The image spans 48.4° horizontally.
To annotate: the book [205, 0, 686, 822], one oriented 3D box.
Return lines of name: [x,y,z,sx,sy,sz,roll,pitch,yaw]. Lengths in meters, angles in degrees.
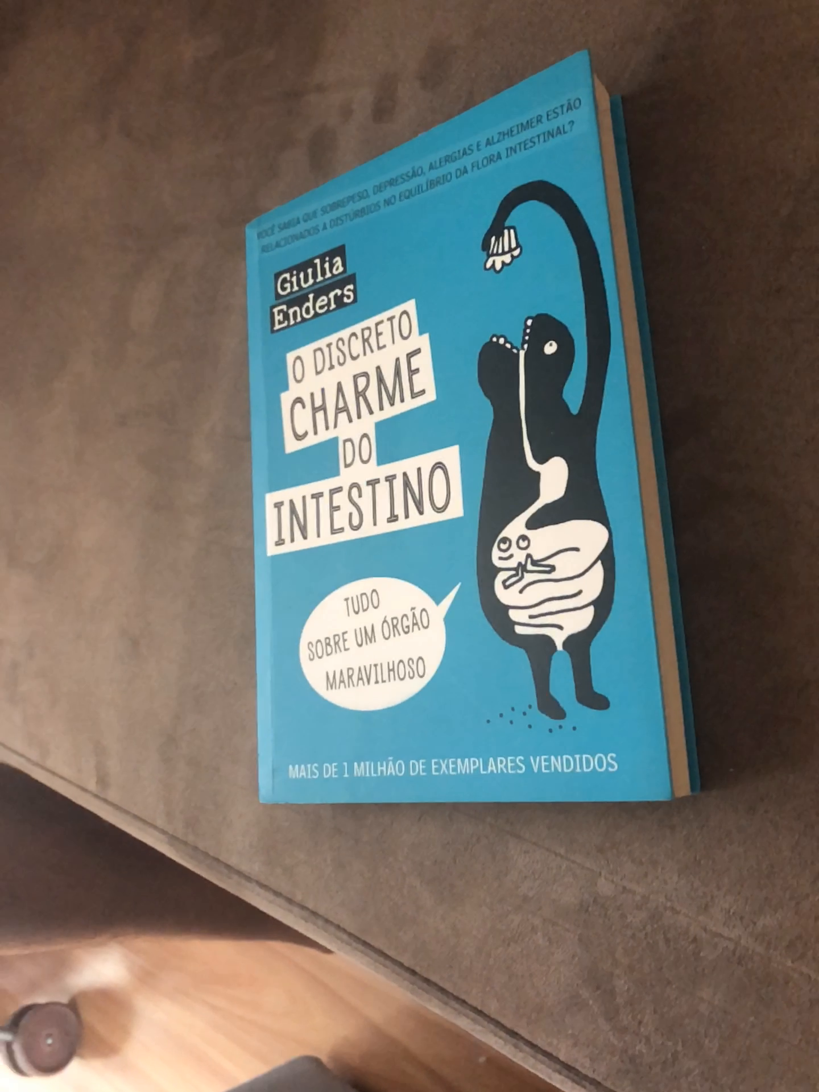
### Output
book: [-0.001,-0.033,0.278,0.140,0.030,0.220,-11,75,33]
